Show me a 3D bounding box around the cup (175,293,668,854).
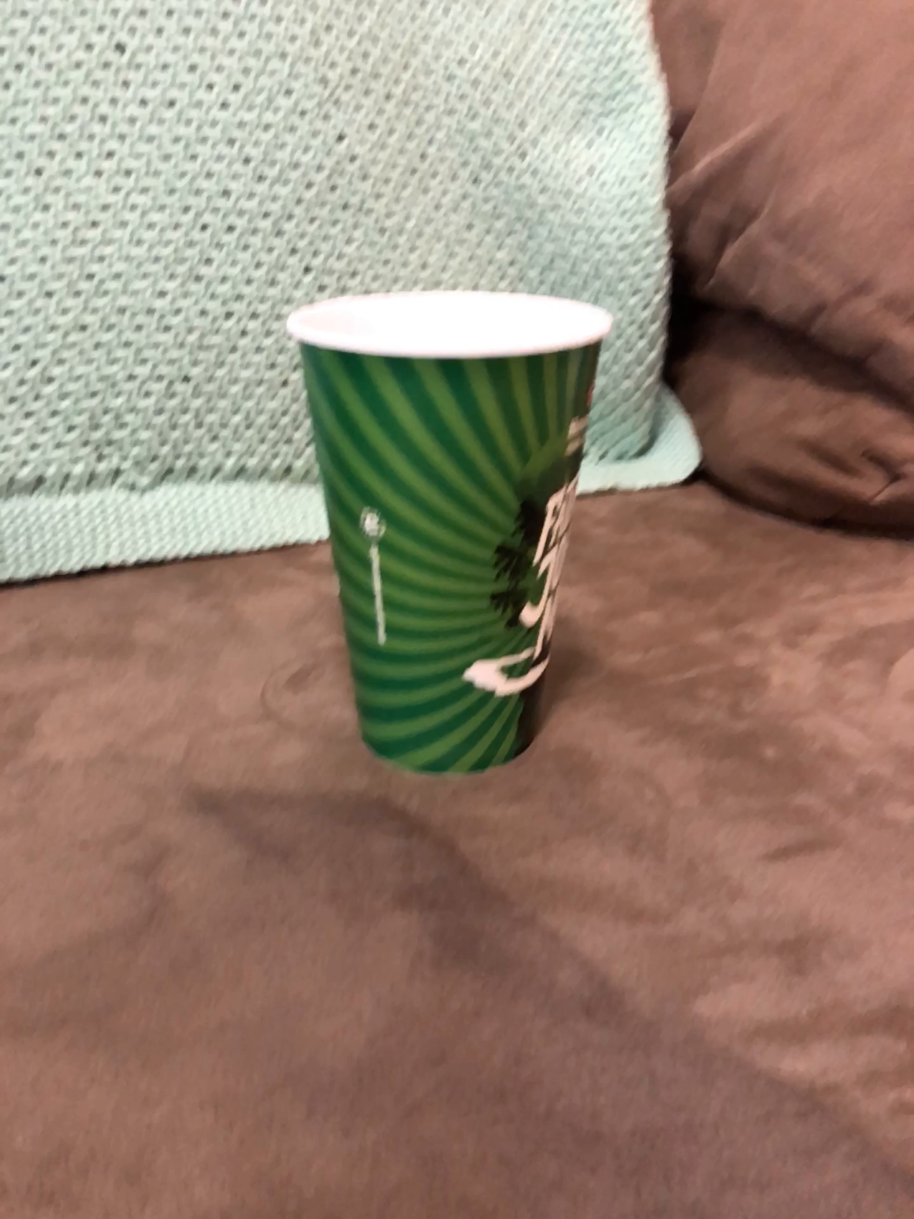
[{"bbox_3d":[-0.006,-0.022,0.310,0.100,0.129,0.101,0,23,0],"label":"cup"}]
